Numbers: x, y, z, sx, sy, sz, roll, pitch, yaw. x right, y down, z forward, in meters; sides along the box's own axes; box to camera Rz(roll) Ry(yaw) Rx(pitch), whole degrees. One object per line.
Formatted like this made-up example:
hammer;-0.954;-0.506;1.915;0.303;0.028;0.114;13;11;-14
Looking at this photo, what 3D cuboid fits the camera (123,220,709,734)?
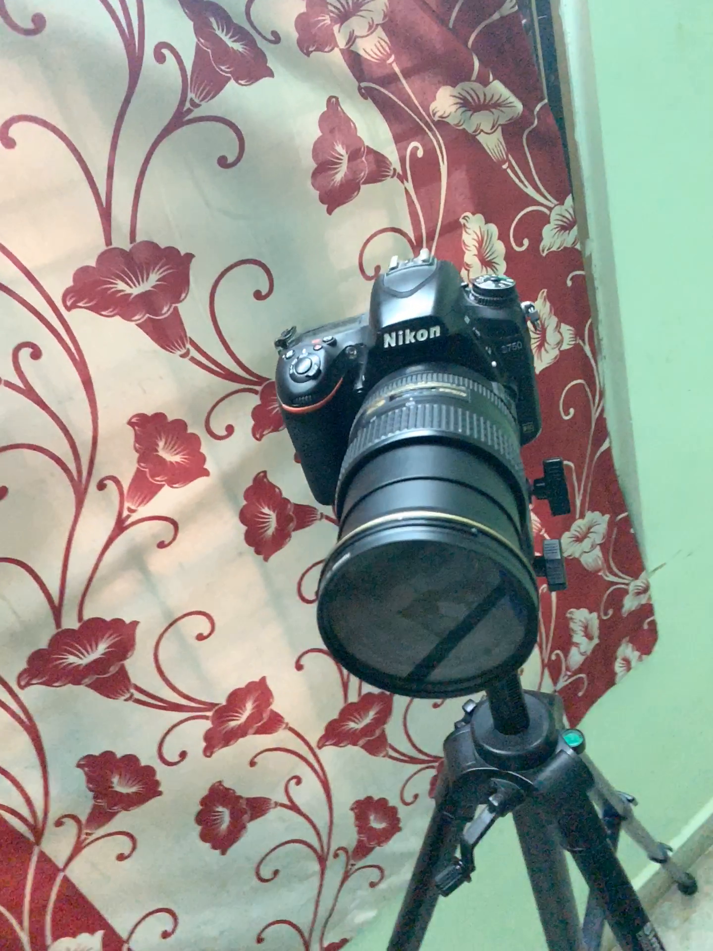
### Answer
camera;0.030;-0.009;0.317;0.172;0.122;0.171;-12;29;11
